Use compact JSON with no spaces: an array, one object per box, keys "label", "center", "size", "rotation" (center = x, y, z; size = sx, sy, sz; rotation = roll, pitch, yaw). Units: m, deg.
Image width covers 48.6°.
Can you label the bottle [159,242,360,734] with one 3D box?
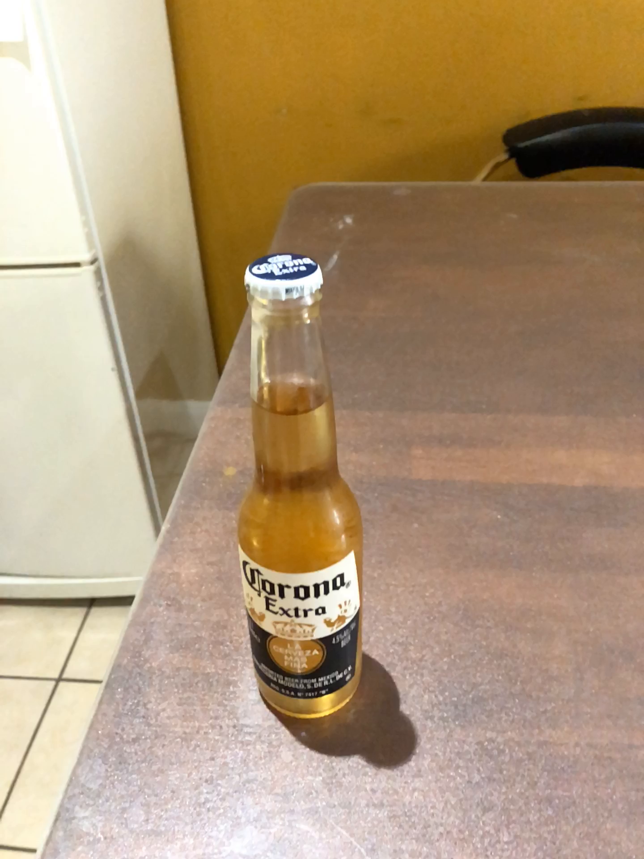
[{"label":"bottle","center":[-0.016,0.041,0.326],"size":[0.060,0.238,0.061],"rotation":[-1,37,1]}]
